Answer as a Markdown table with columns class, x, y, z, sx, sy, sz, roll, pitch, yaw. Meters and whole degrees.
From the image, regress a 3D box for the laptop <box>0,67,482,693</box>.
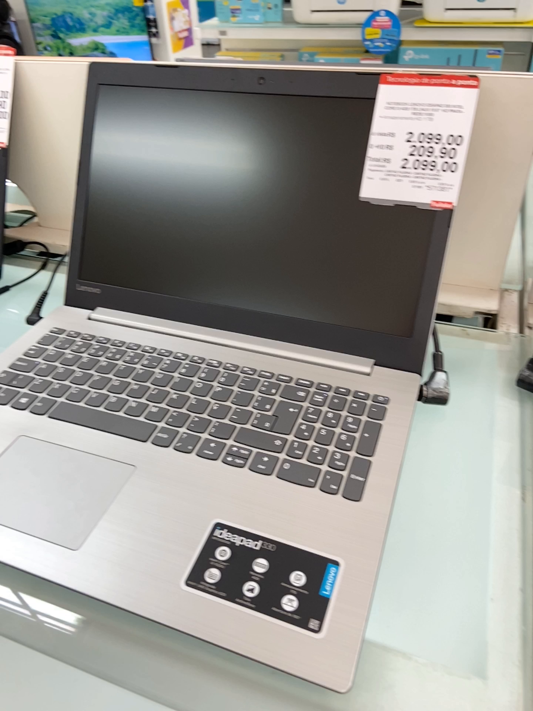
| class | x | y | z | sx | sy | sz | roll | pitch | yaw |
| --- | --- | --- | --- | --- | --- | --- | --- | --- | --- |
| laptop | -0.068 | -0.060 | 0.410 | 0.370 | 0.194 | 0.391 | 11 | 41 | 18 |
